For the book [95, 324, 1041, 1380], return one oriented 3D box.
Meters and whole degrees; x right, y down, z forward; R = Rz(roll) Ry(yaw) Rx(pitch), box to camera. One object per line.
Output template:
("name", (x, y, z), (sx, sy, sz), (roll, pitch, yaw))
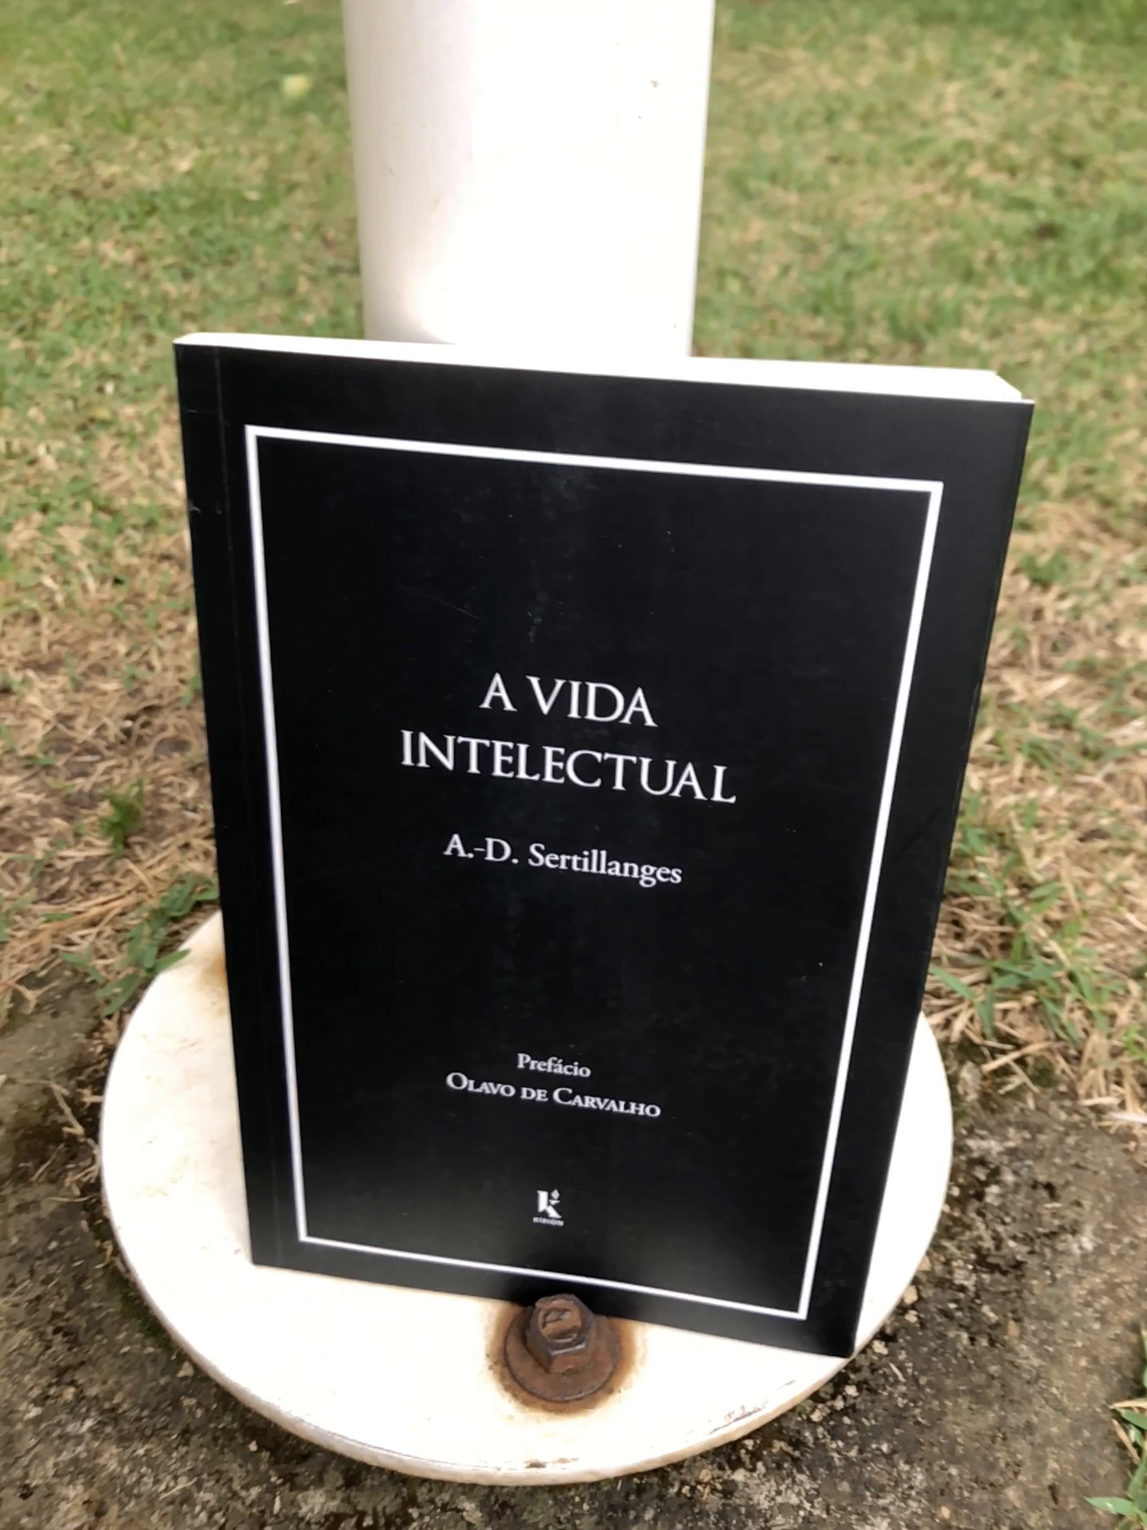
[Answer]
("book", (-0.005, 0.024, 0.239), (0.140, 0.193, 0.025), (6, 25, 8))
